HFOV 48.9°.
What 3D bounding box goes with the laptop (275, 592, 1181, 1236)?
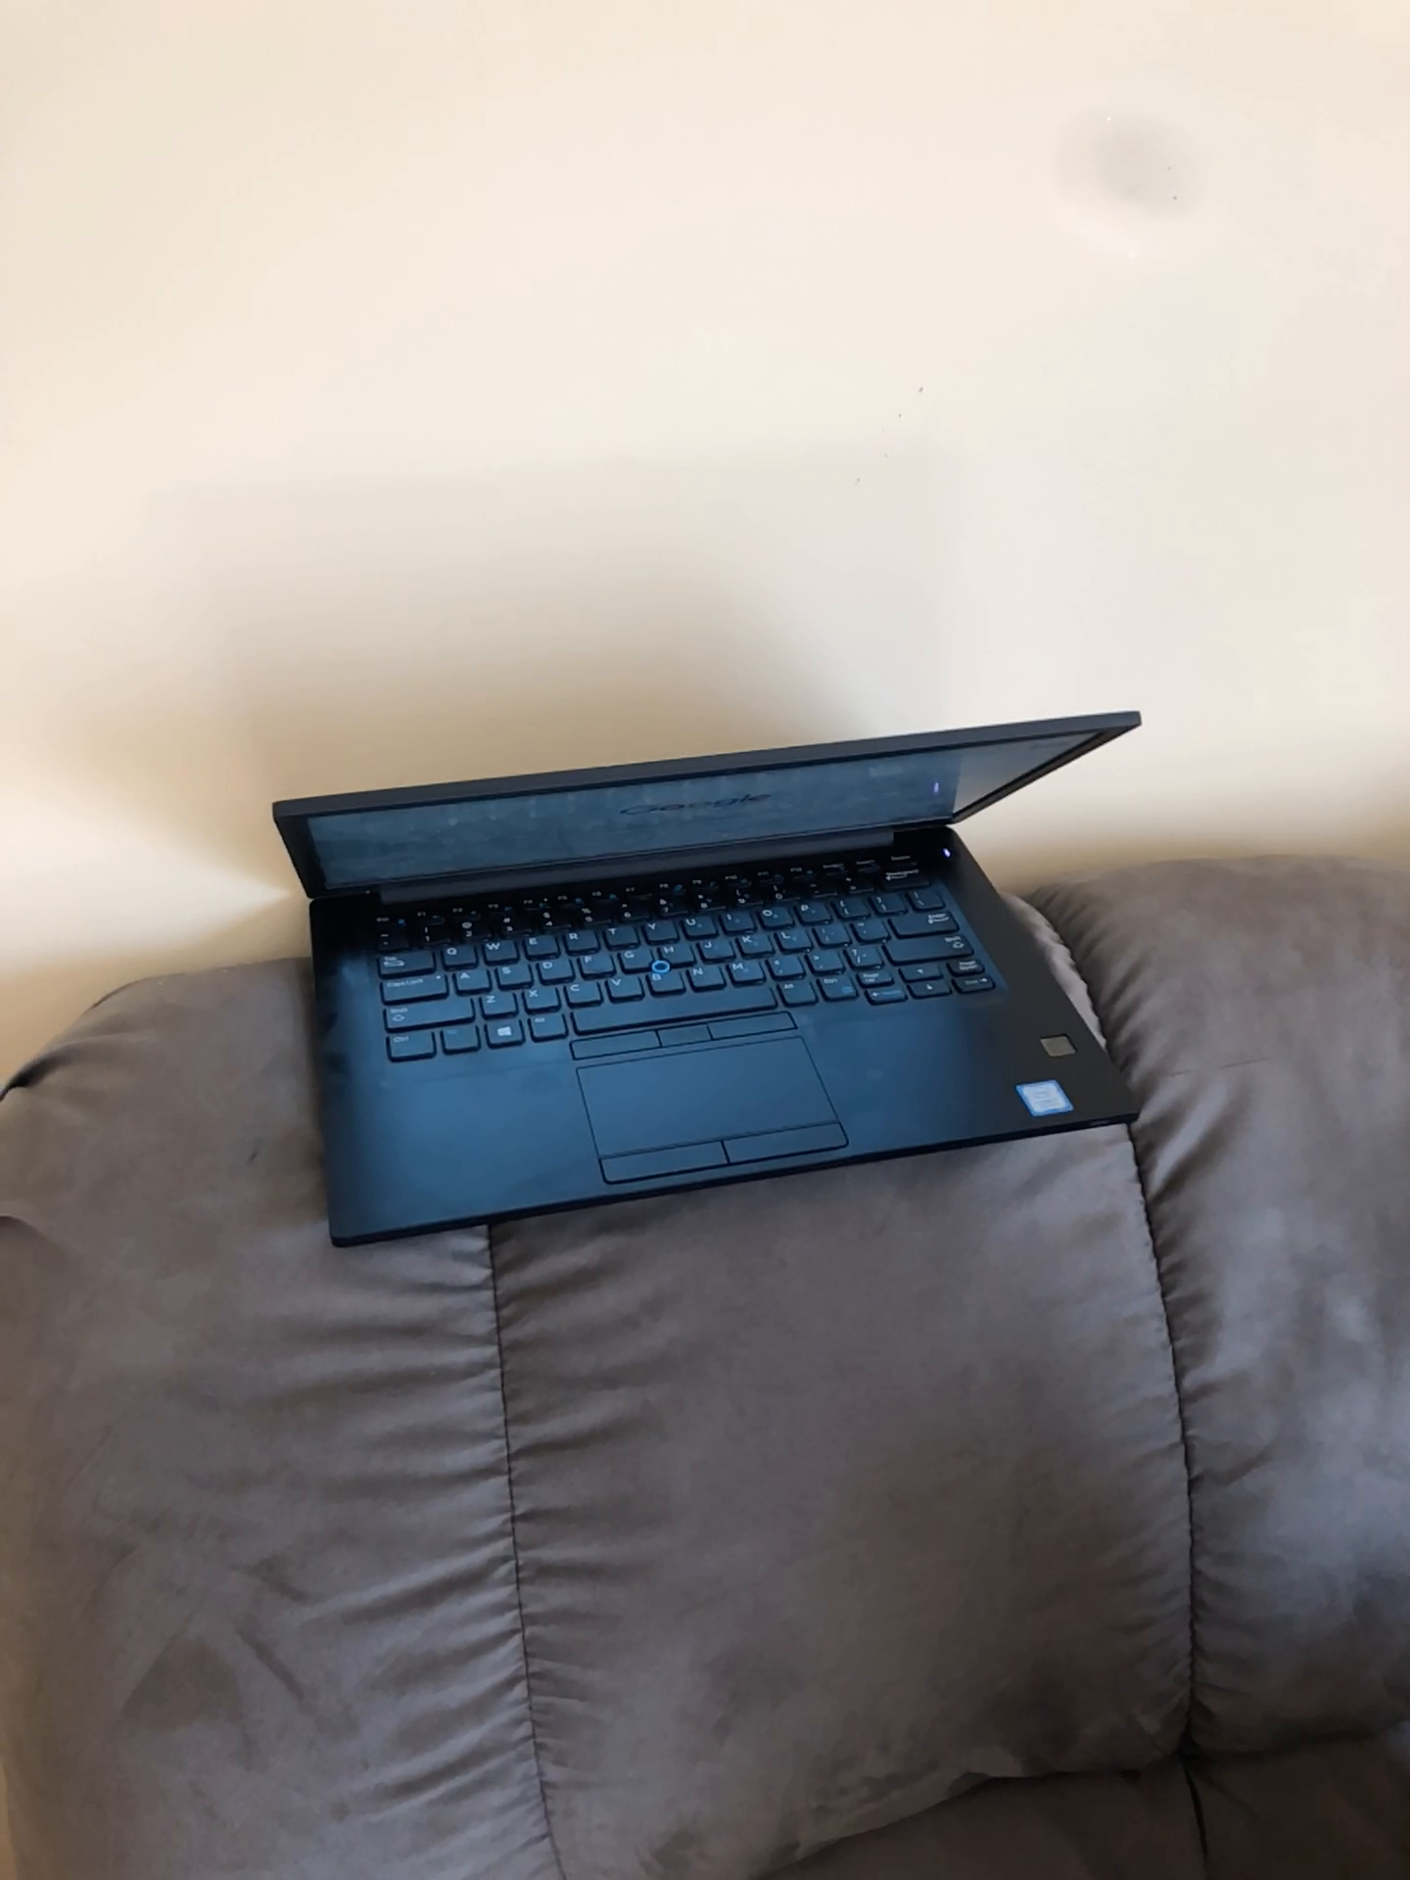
[{"bbox_3d":[-0.006,-0.028,0.654,0.321,0.128,0.214,-7,36,-12],"label":"laptop"}]
